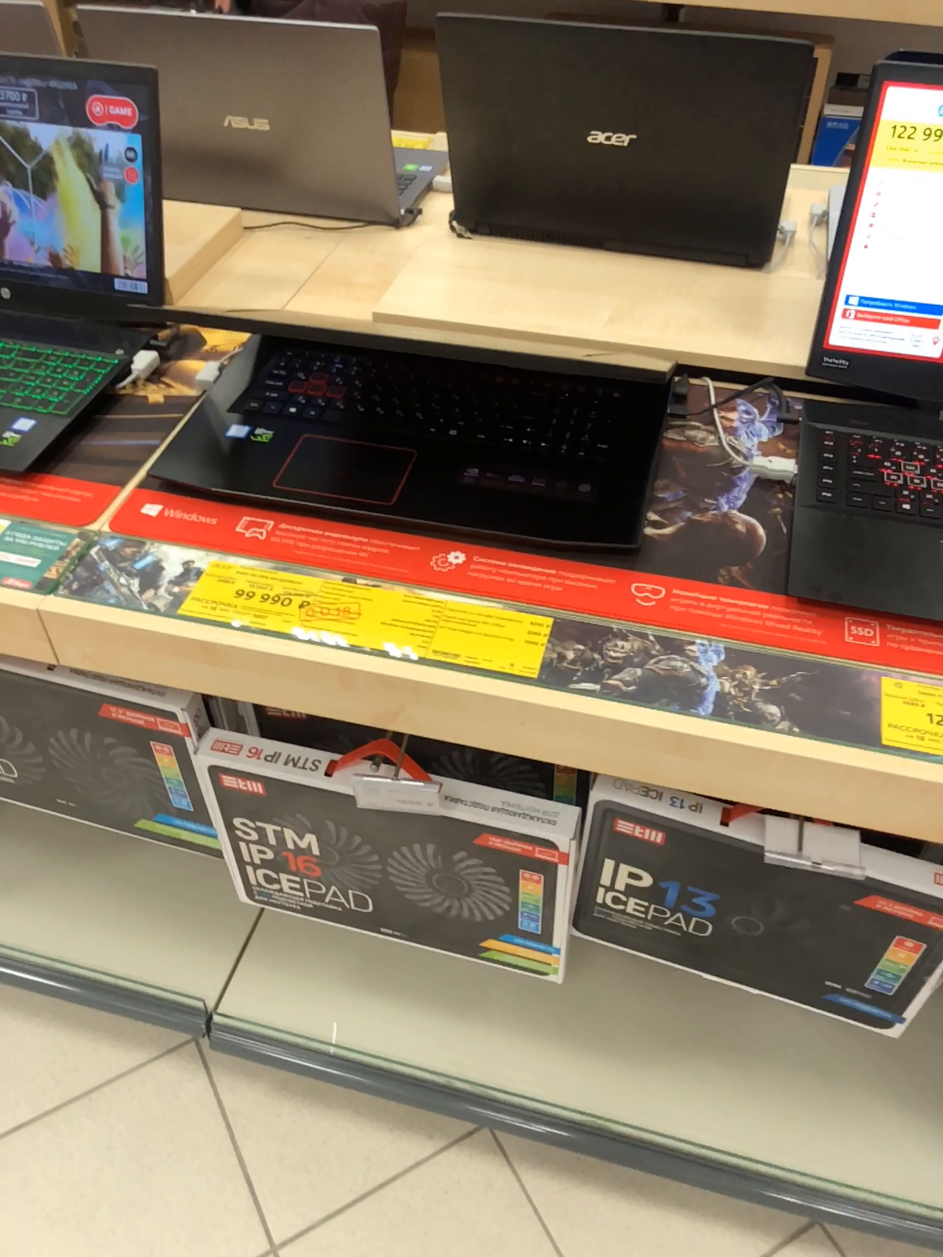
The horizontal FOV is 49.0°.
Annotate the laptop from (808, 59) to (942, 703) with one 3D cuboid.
[{"bbox_3d":[0.473,-0.209,0.770,0.377,0.250,0.357,10,46,11],"label":"laptop"}]

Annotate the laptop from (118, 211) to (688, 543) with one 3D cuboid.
[{"bbox_3d":[-0.042,-0.234,0.903,0.419,0.124,0.262,9,45,10],"label":"laptop"}]

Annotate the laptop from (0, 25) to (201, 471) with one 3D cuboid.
[{"bbox_3d":[-0.519,-0.369,0.966,0.350,0.230,0.344,12,45,10],"label":"laptop"}]
